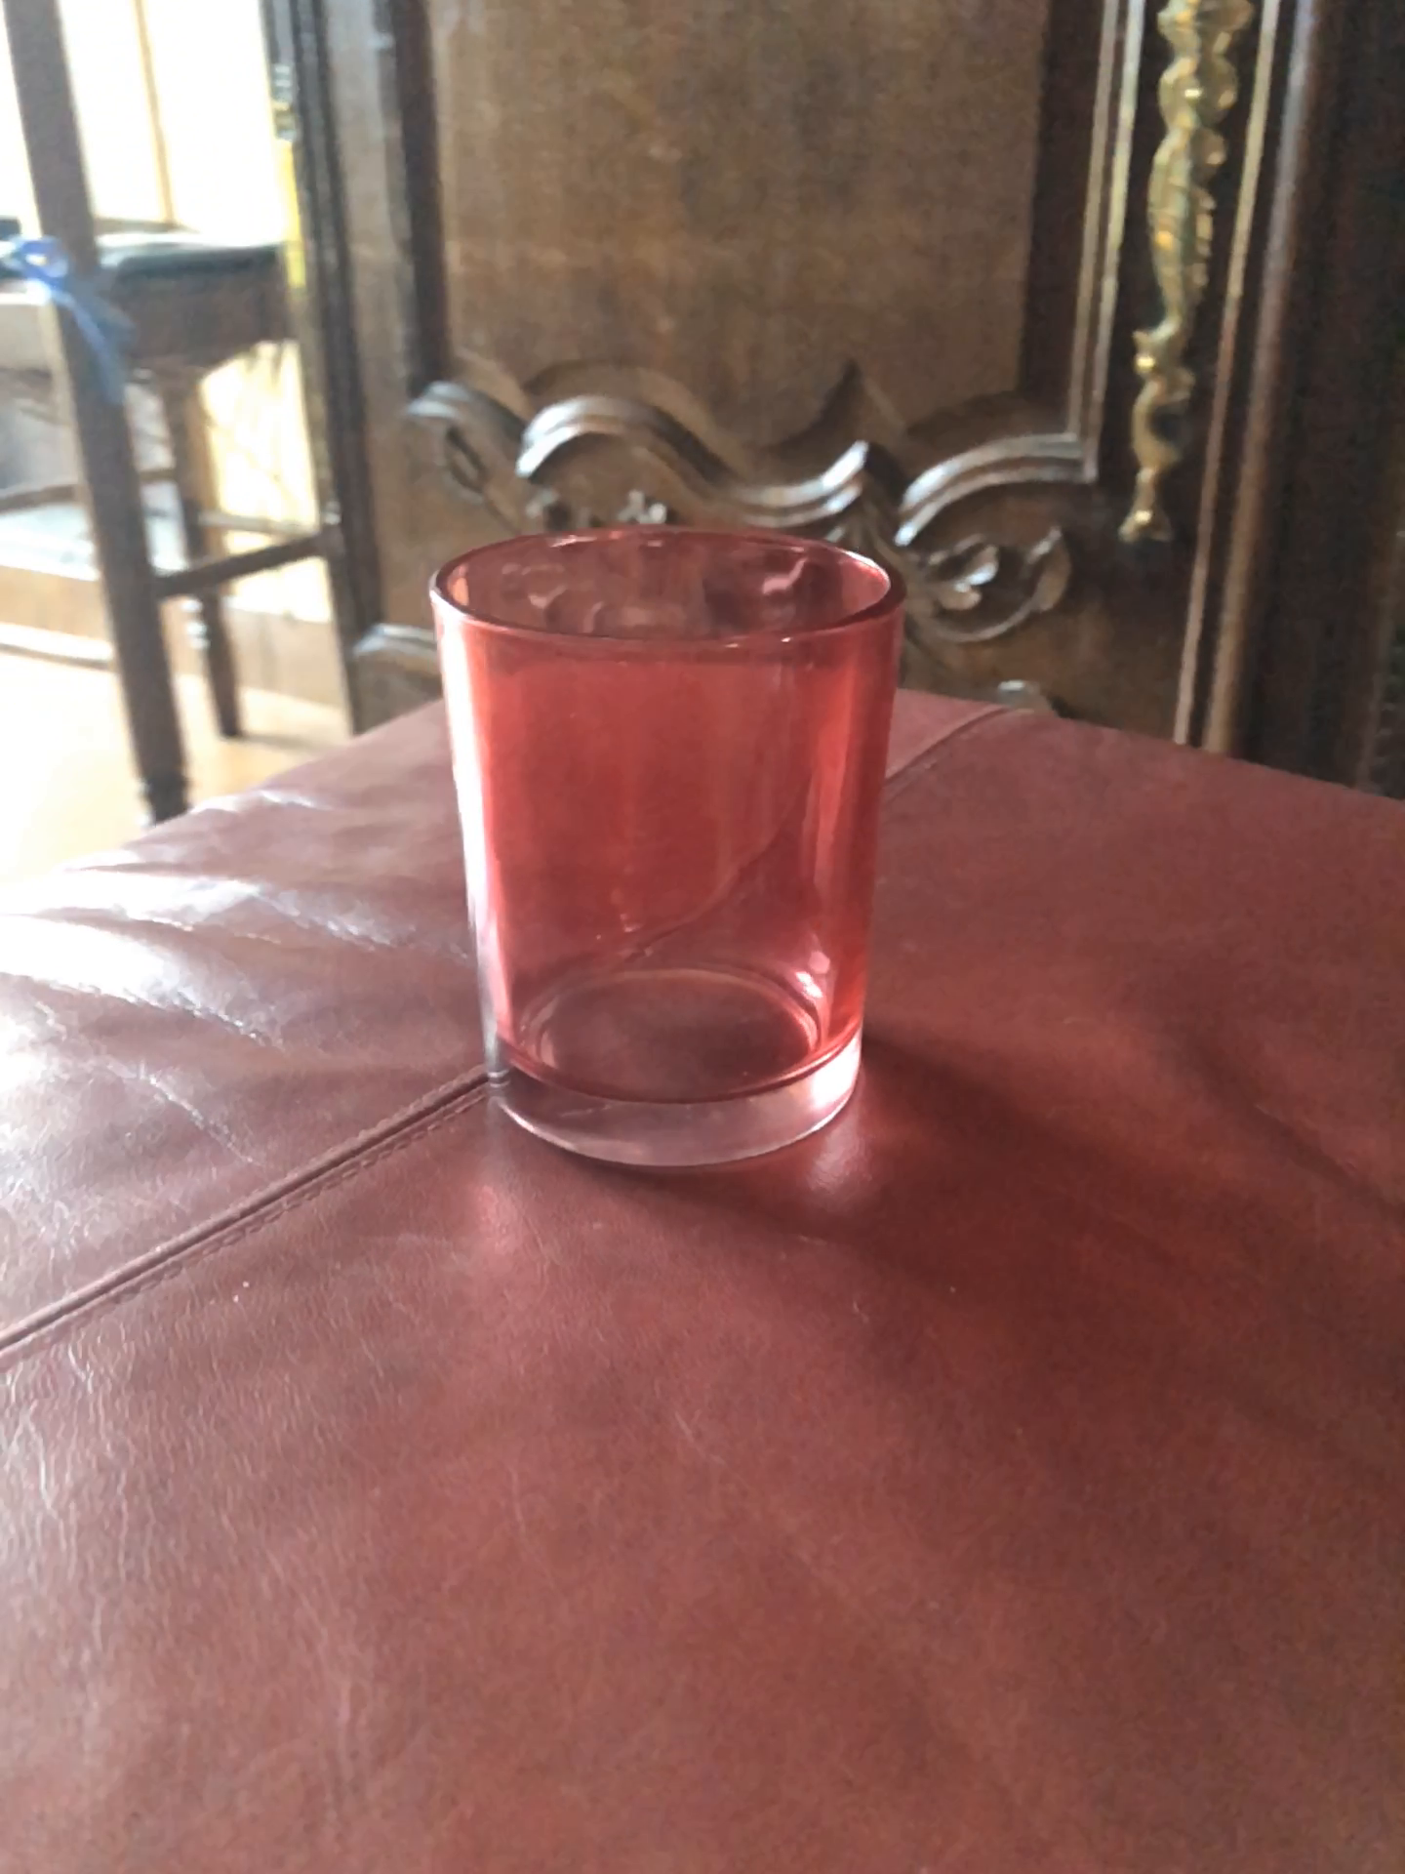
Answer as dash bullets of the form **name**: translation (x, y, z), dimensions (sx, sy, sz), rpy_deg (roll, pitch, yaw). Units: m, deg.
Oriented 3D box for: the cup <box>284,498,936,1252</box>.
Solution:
- **cup**: translation (-0.010, -0.016, 0.247), dimensions (0.070, 0.090, 0.070), rpy_deg (-1, 25, 1)
